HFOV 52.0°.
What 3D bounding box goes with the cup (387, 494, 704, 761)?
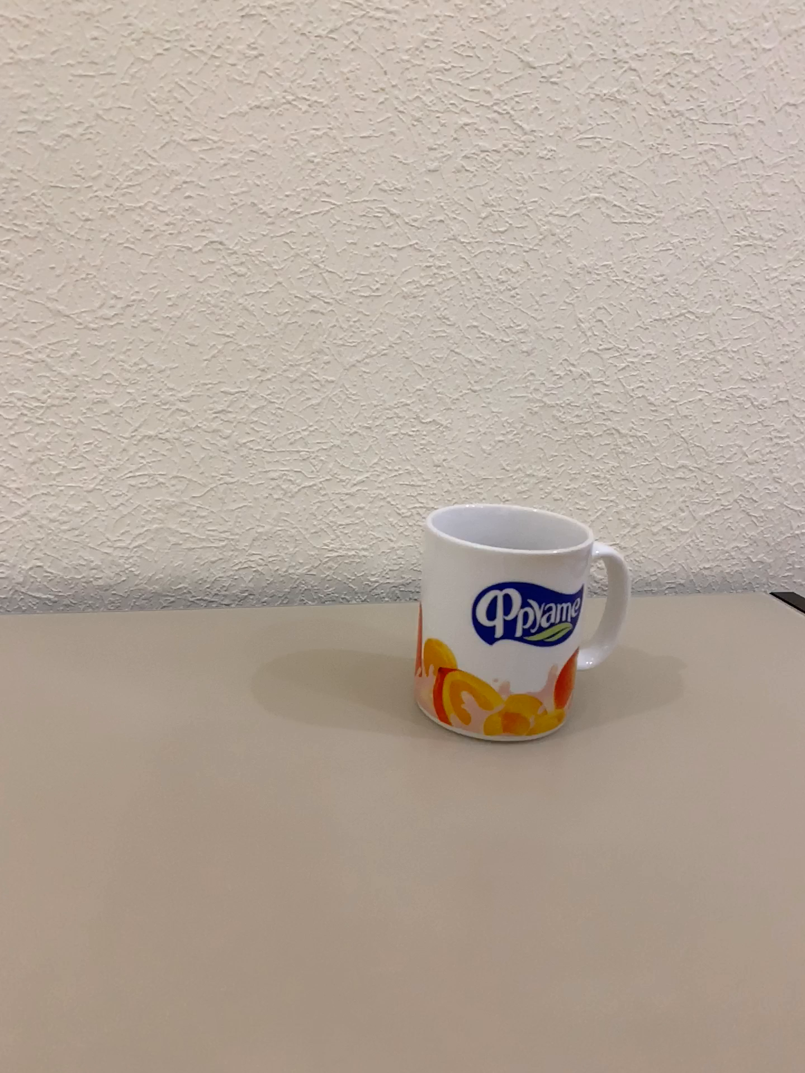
[{"bbox_3d":[0.065,0.037,0.400,0.116,0.092,0.081,-4,18,-25],"label":"cup"}]
